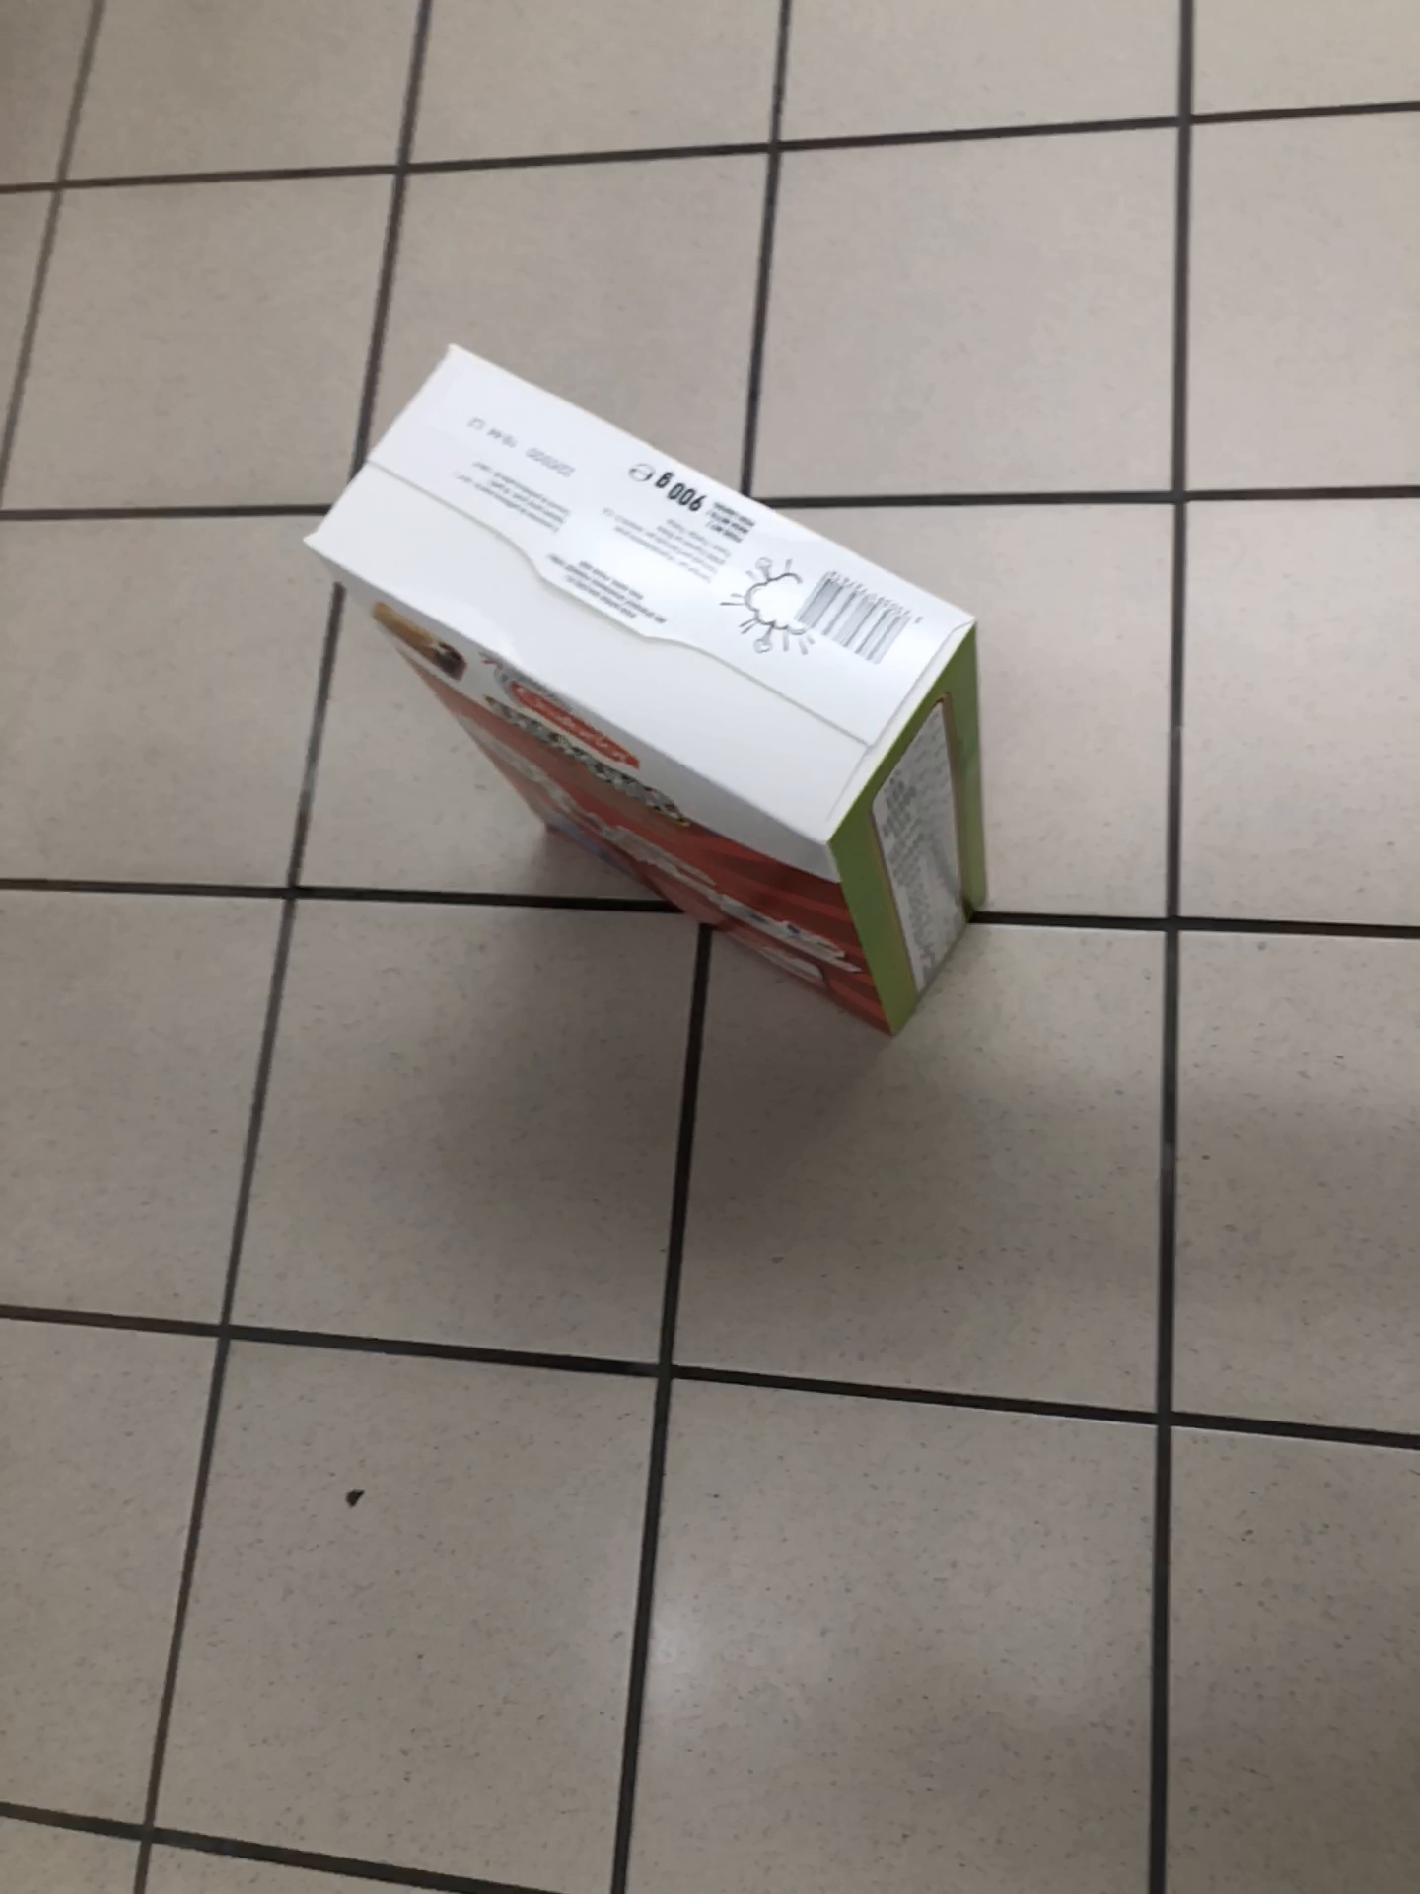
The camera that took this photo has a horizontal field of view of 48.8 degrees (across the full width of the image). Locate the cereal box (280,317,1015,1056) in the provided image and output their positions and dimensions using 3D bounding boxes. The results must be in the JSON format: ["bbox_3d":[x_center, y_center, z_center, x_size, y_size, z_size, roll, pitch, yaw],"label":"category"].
[{"bbox_3d":[0.002,-0.071,0.564,0.200,0.270,0.080,32,84,17],"label":"cereal box"}]
